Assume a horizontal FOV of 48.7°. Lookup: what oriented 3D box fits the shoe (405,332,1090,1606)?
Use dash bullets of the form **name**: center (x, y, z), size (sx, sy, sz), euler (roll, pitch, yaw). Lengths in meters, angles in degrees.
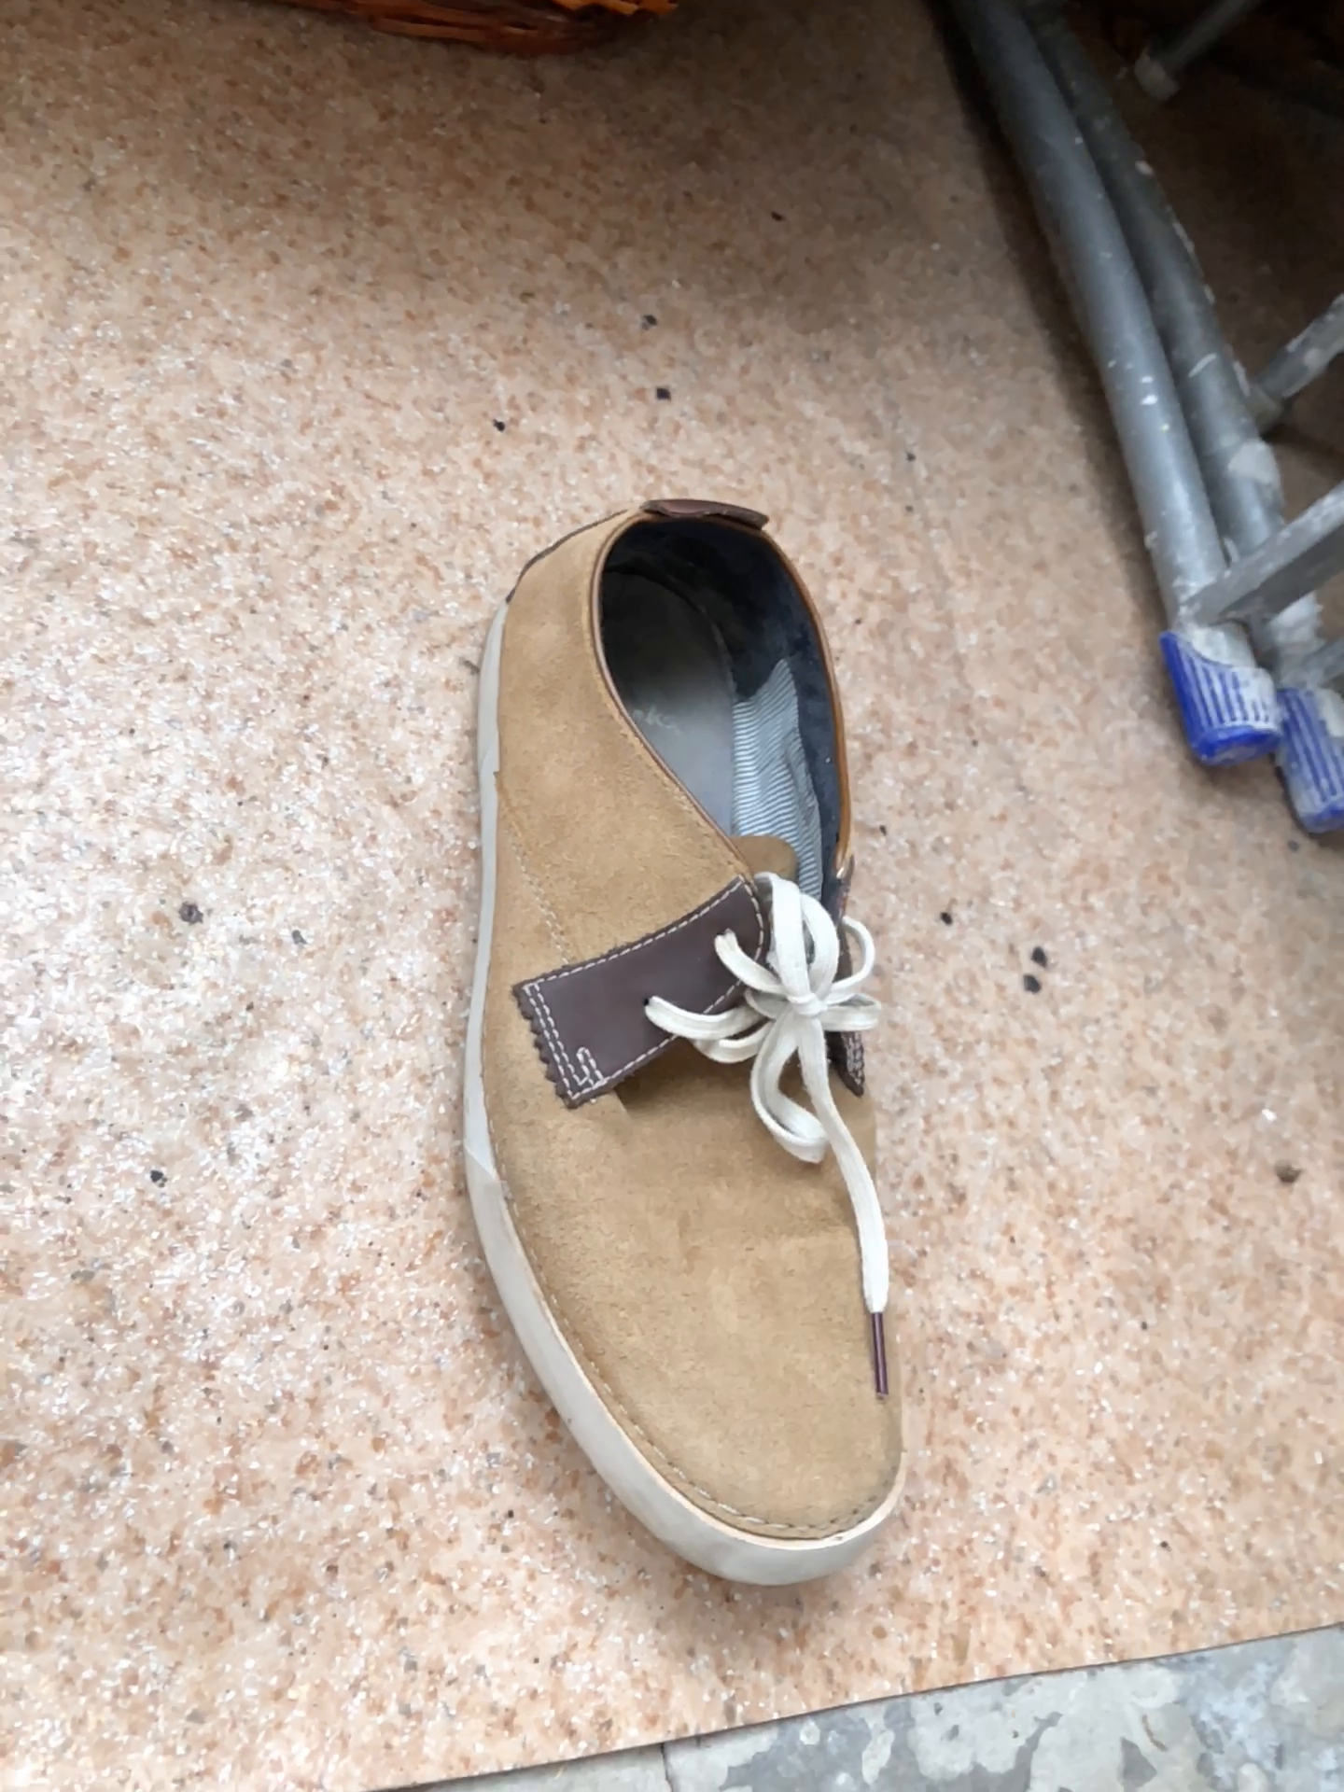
- **shoe**: center (0.004, 0.013, 0.389), size (0.110, 0.089, 0.301), euler (4, 65, -27)
